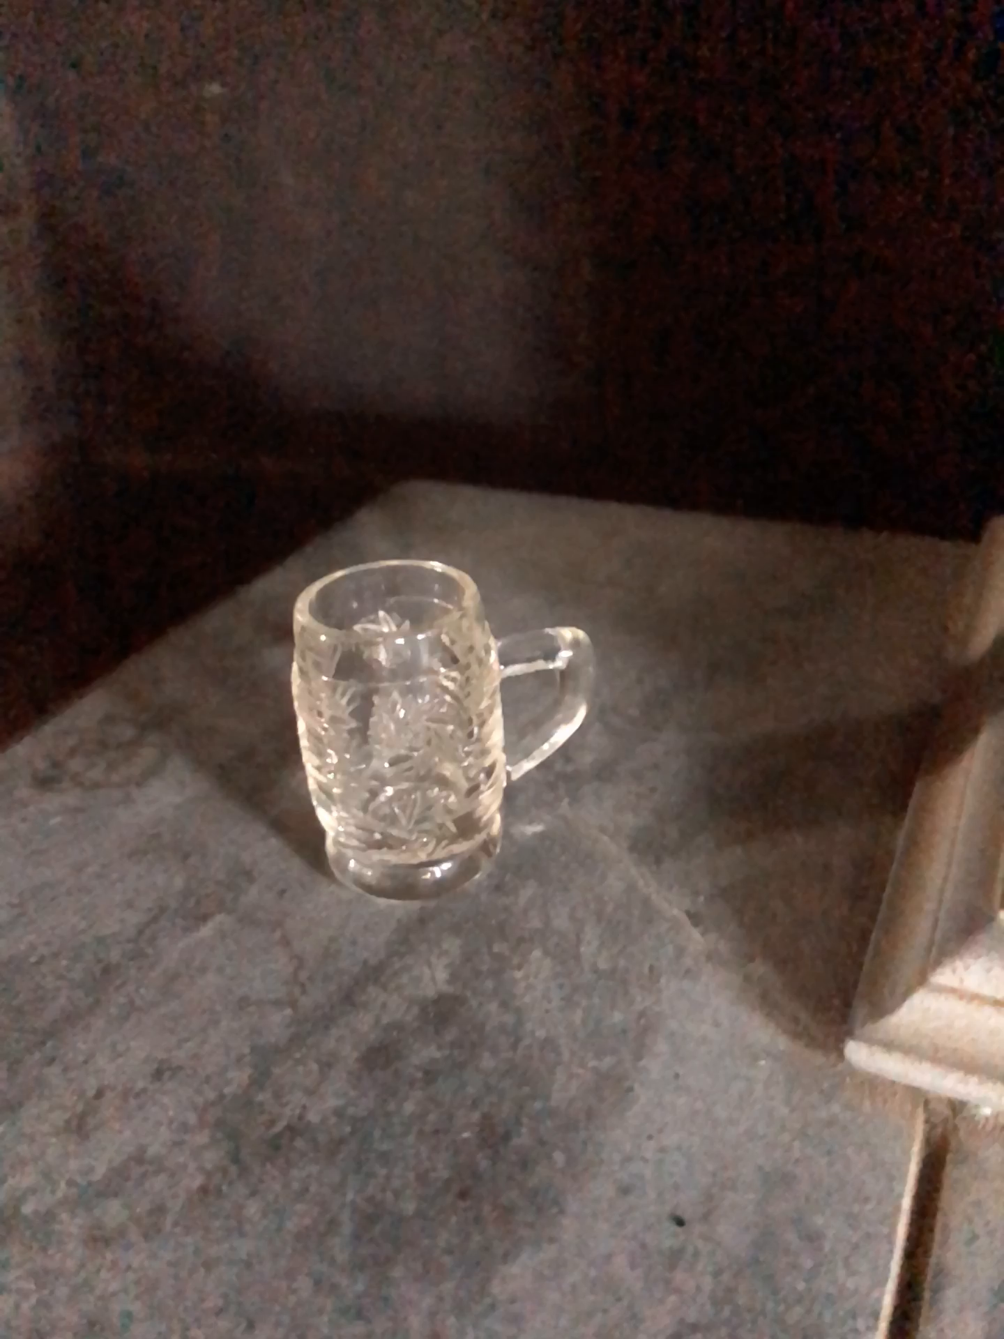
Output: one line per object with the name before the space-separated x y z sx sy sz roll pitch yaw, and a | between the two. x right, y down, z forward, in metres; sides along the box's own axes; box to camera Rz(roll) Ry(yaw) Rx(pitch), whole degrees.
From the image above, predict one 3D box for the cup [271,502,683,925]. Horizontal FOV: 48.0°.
cup | -0.003 0.005 0.207 0.060 0.050 0.040 -18 31 -21
